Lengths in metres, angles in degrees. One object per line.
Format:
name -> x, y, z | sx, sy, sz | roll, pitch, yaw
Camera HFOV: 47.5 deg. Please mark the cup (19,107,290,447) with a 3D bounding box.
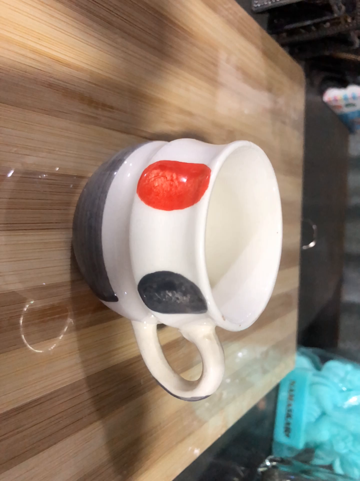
cup -> -0.002, 0.005, 0.143 | 0.060, 0.060, 0.090 | -28, 116, -53
